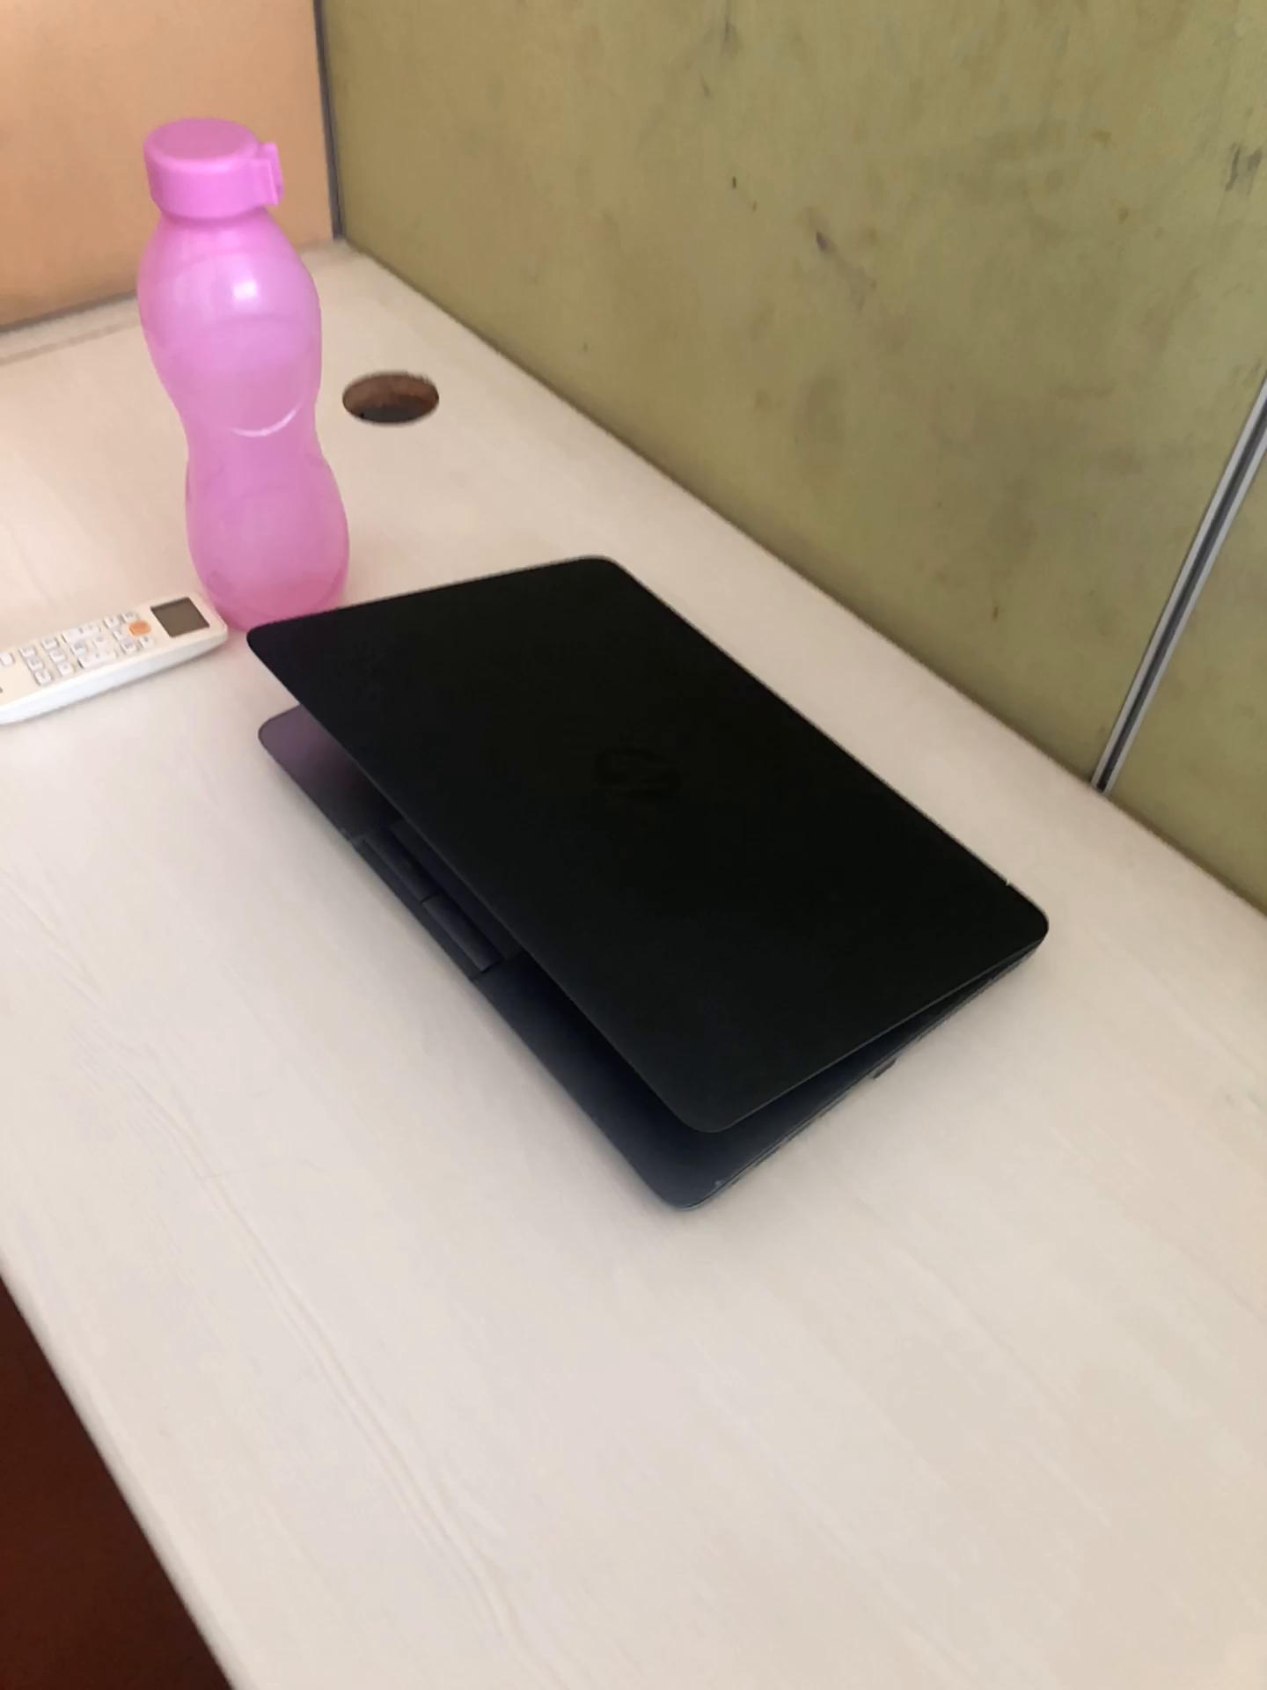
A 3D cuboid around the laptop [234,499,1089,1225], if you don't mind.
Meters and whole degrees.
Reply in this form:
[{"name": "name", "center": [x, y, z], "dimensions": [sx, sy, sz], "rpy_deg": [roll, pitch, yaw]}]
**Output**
[{"name": "laptop", "center": [0.001, -0.020, 0.650], "dimensions": [0.226, 0.050, 0.331], "rpy_deg": [-30, 57, -25]}]
